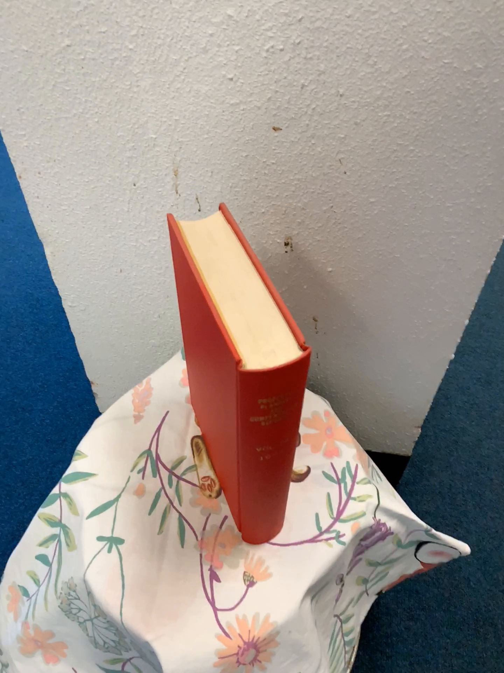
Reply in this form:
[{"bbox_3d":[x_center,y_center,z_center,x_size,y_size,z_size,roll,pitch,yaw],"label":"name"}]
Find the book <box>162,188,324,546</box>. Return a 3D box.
[{"bbox_3d":[-0.012,0.035,0.420,0.050,0.245,0.169,-16,49,-13],"label":"book"}]
